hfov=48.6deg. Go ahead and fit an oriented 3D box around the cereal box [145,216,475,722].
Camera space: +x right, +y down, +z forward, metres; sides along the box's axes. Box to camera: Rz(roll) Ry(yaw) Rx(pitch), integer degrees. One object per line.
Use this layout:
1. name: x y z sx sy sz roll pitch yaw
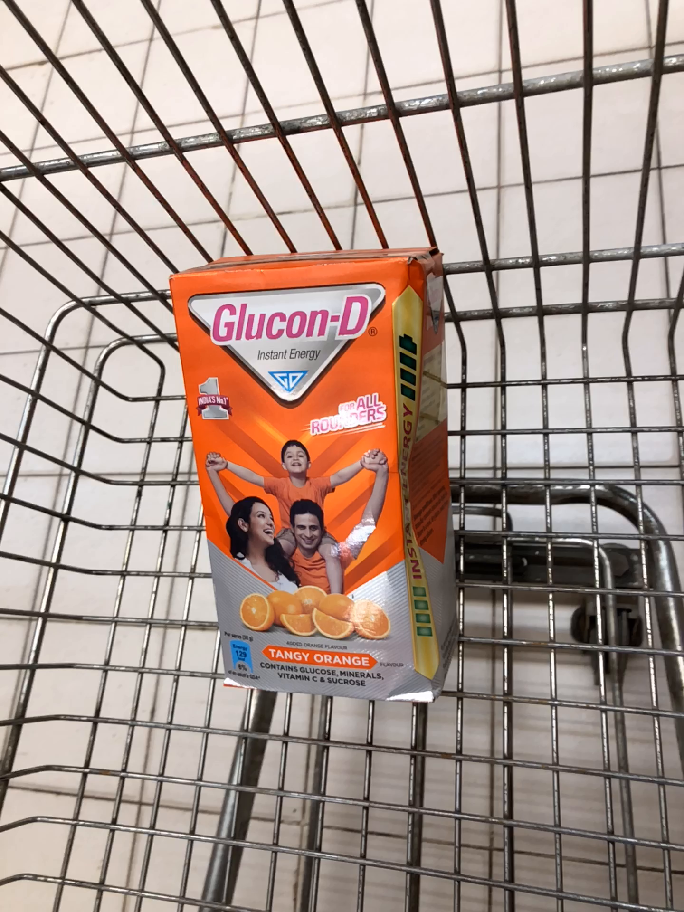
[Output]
1. cereal box: -0.005 0.002 0.372 0.120 0.100 0.210 0 101 18
